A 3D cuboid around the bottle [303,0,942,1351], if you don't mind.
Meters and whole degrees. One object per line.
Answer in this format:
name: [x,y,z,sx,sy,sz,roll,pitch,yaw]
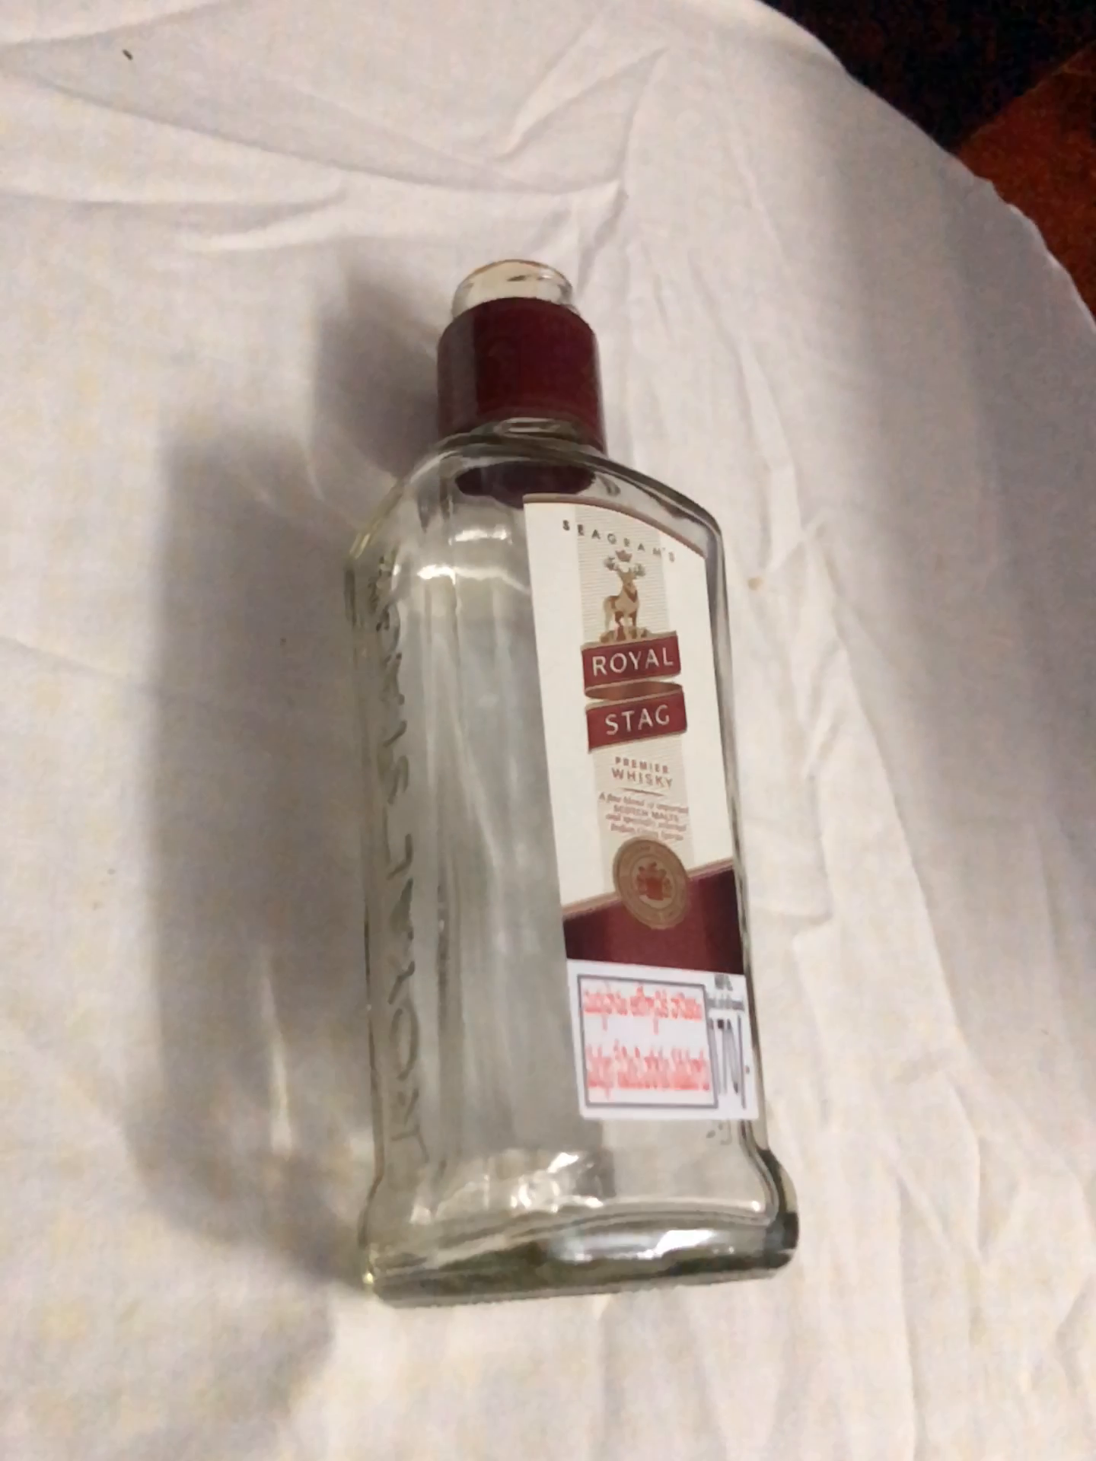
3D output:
bottle: [0.006,-0.013,0.182,0.060,0.050,0.180,12,65,-31]
